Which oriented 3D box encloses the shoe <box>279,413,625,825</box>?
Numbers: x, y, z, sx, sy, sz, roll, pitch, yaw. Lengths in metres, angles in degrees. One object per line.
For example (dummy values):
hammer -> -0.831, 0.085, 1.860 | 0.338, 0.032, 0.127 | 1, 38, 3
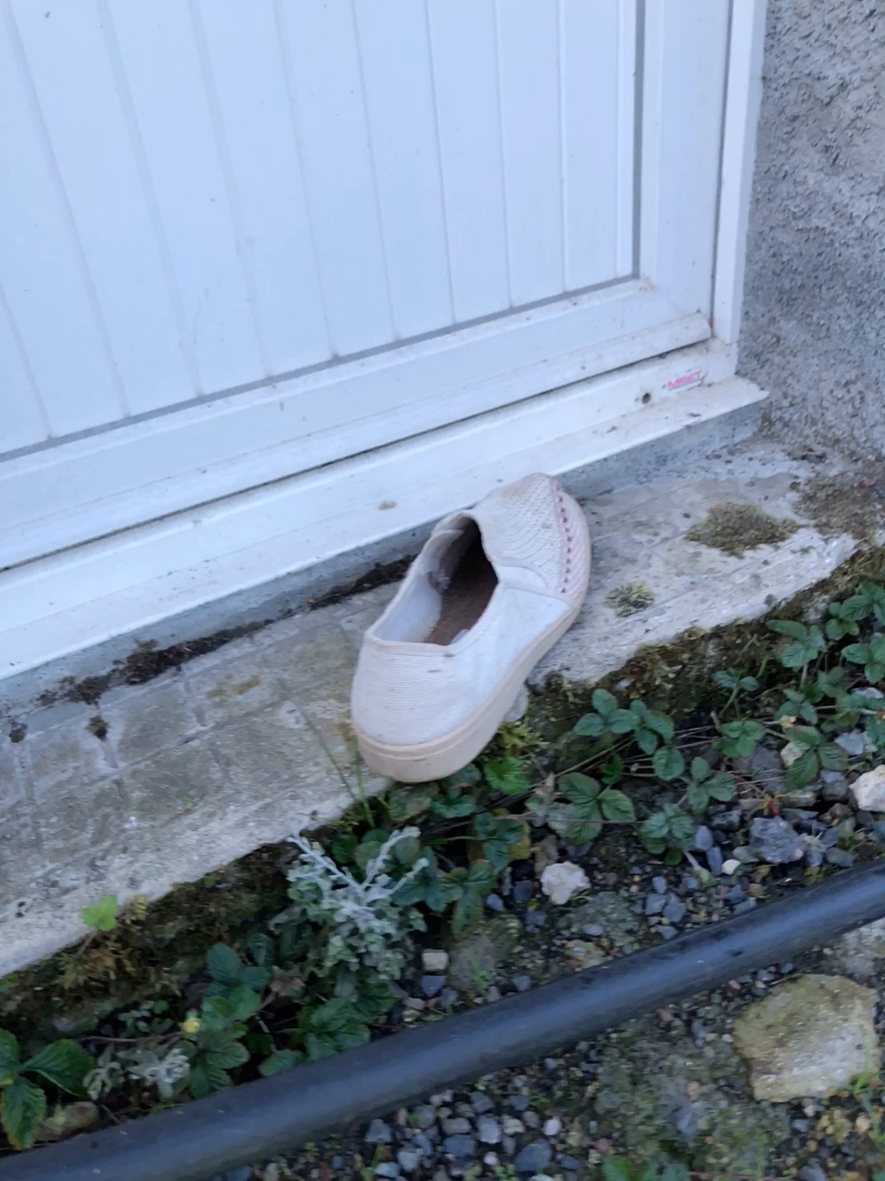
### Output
shoe -> 0.024, -0.004, 0.574 | 0.100, 0.080, 0.282 | 9, 37, 21
